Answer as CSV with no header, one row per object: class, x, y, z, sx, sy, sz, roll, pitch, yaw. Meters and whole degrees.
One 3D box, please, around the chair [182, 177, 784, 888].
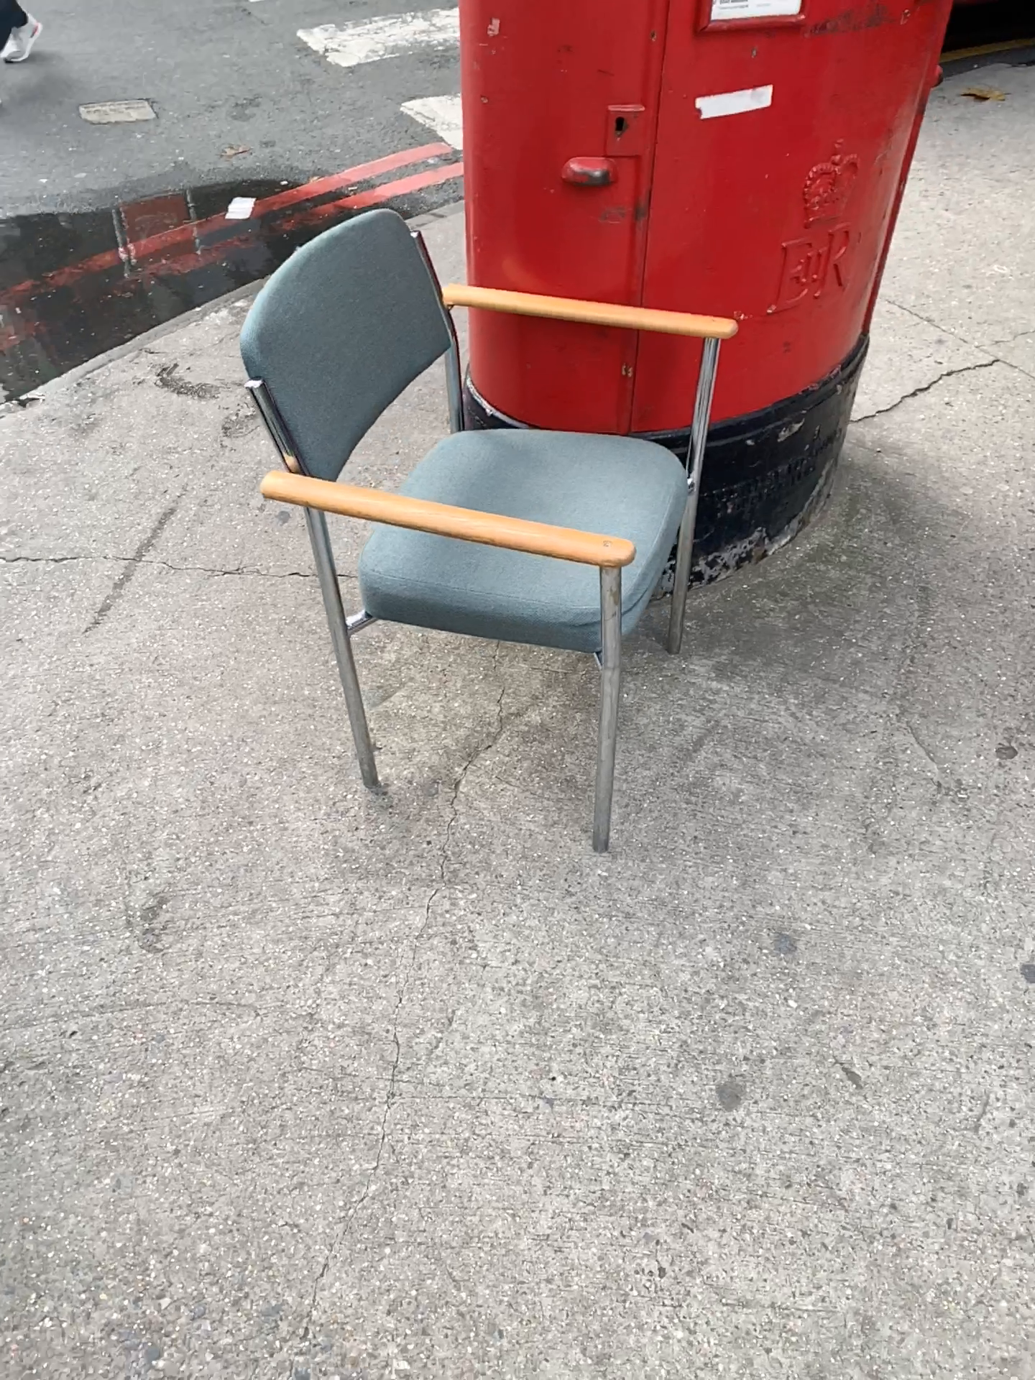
chair,-0.011,-0.228,1.532,0.570,0.740,0.561,14,46,13
